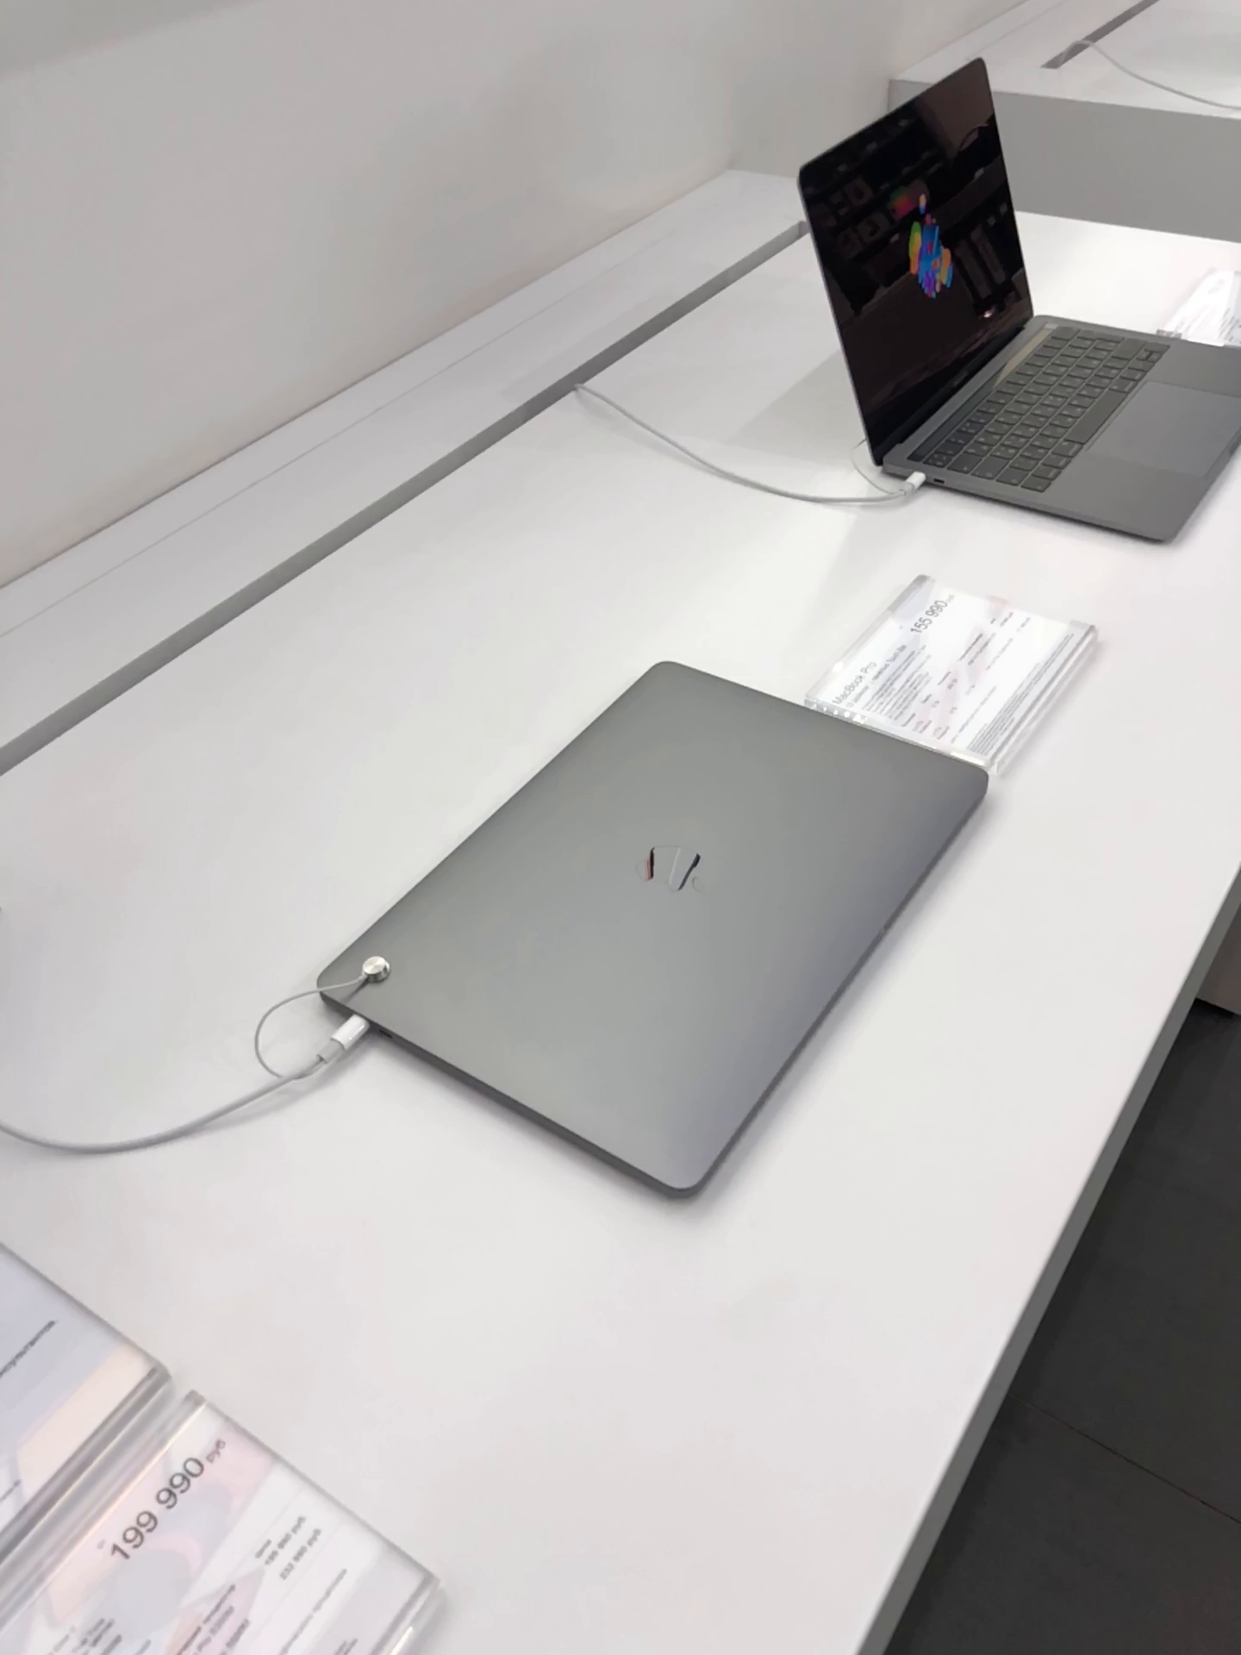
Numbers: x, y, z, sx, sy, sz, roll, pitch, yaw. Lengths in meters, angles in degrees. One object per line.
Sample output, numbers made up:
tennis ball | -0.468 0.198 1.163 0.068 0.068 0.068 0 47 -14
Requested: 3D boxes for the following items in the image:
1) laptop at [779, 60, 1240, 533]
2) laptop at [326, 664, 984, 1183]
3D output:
laptop | 0.314 -0.391 0.964 0.276 0.187 0.310 21 46 23
laptop | 0.025 0.023 0.669 0.202 0.001 0.280 24 50 27
